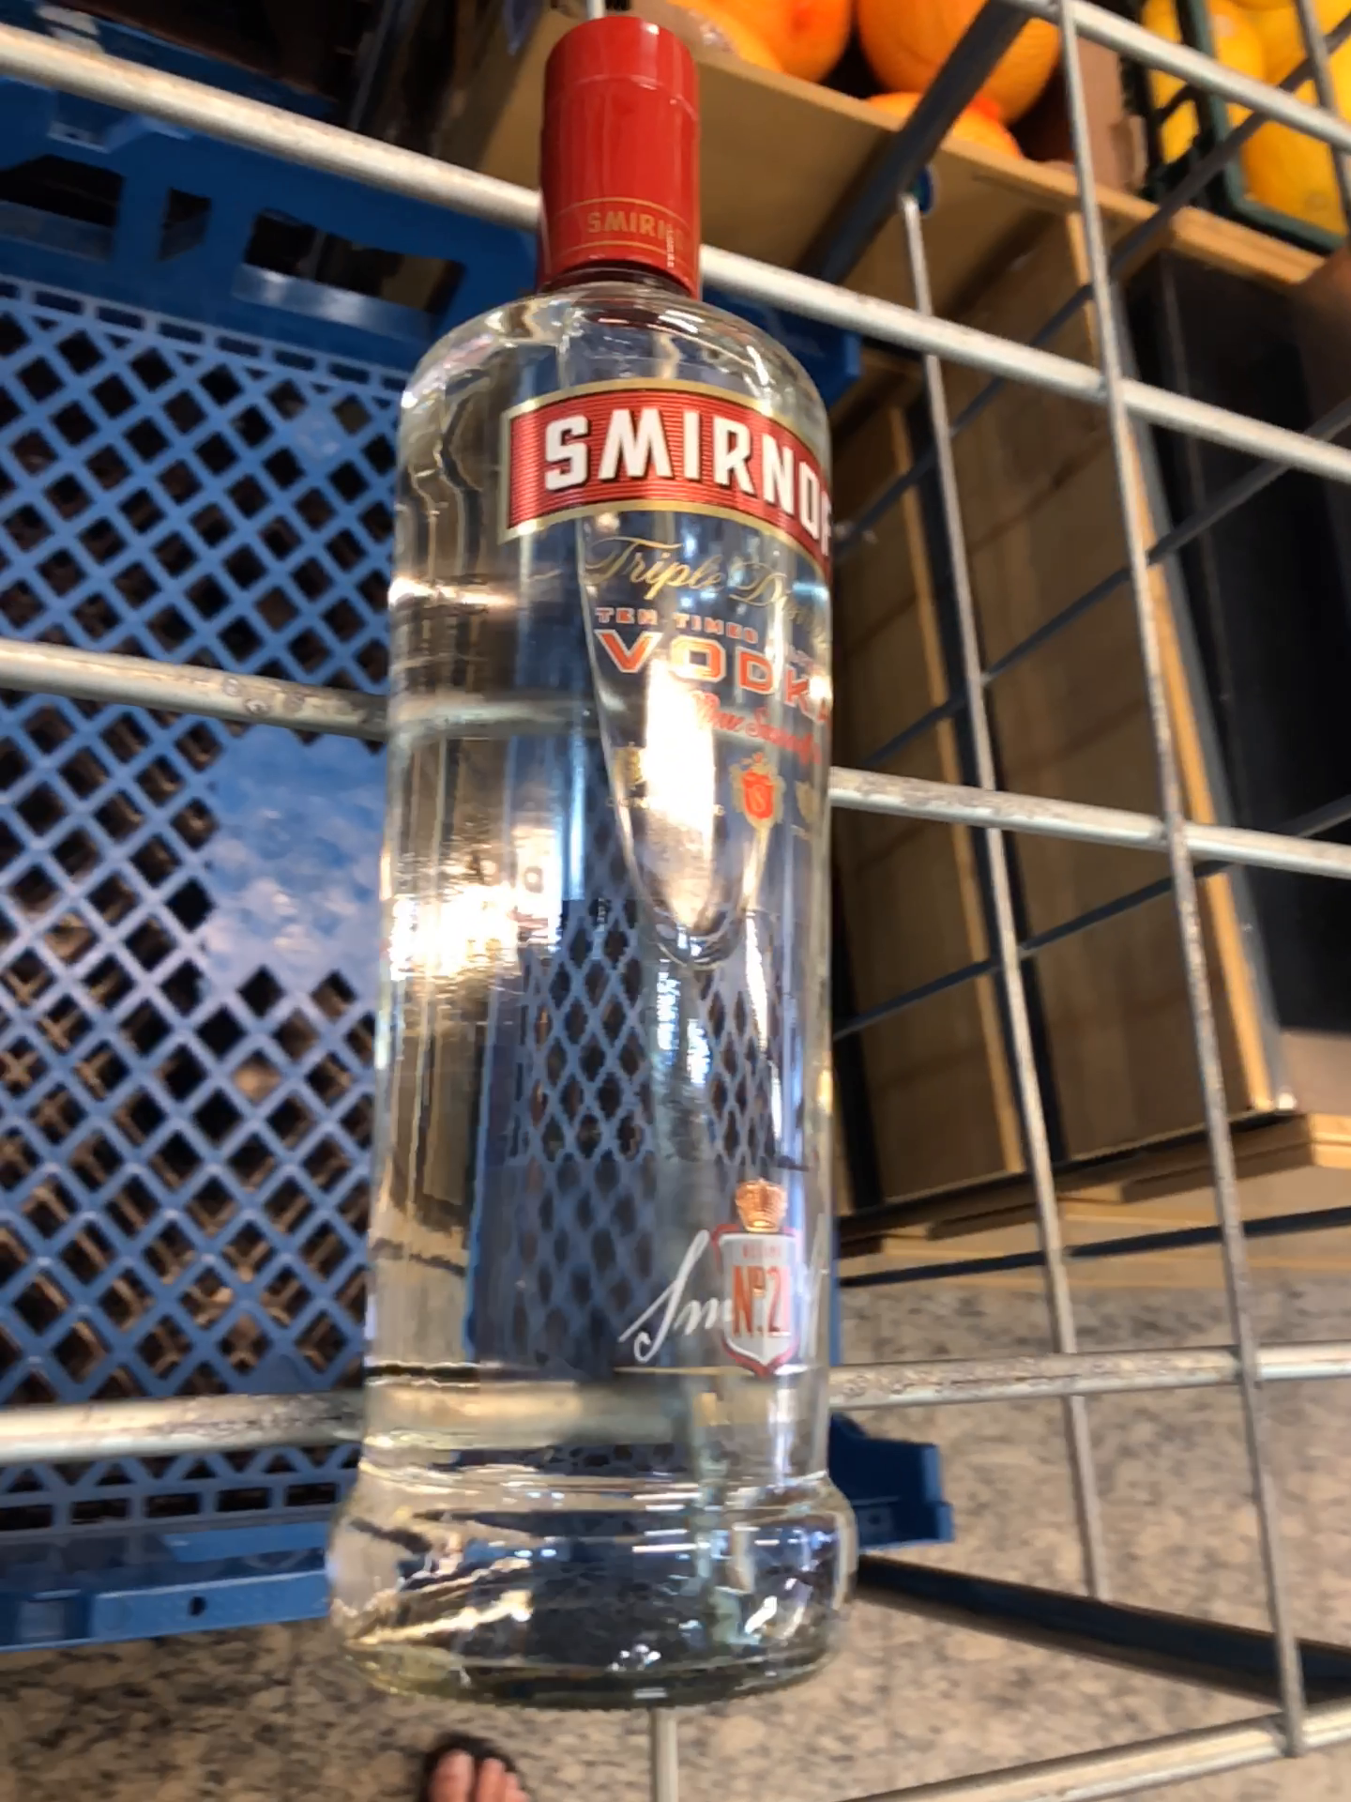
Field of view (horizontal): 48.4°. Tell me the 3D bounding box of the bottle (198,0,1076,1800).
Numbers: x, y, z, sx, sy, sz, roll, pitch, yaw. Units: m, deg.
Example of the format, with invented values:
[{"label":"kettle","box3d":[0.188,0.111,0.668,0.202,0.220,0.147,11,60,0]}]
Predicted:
[{"label":"bottle","box3d":[-0.011,-0.034,0.270,0.100,0.100,0.310,8,72,-26]}]
